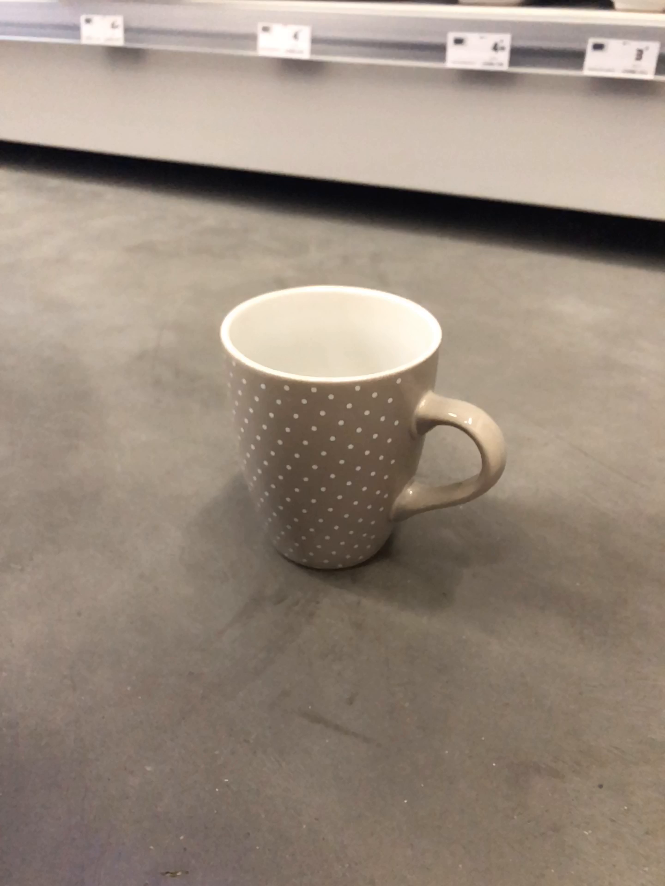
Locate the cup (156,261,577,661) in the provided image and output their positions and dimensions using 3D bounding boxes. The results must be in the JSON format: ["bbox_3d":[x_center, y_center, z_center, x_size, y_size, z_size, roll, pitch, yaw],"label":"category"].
[{"bbox_3d":[0.014,-0.002,0.324,0.141,0.107,0.092,19,37,26],"label":"cup"}]
